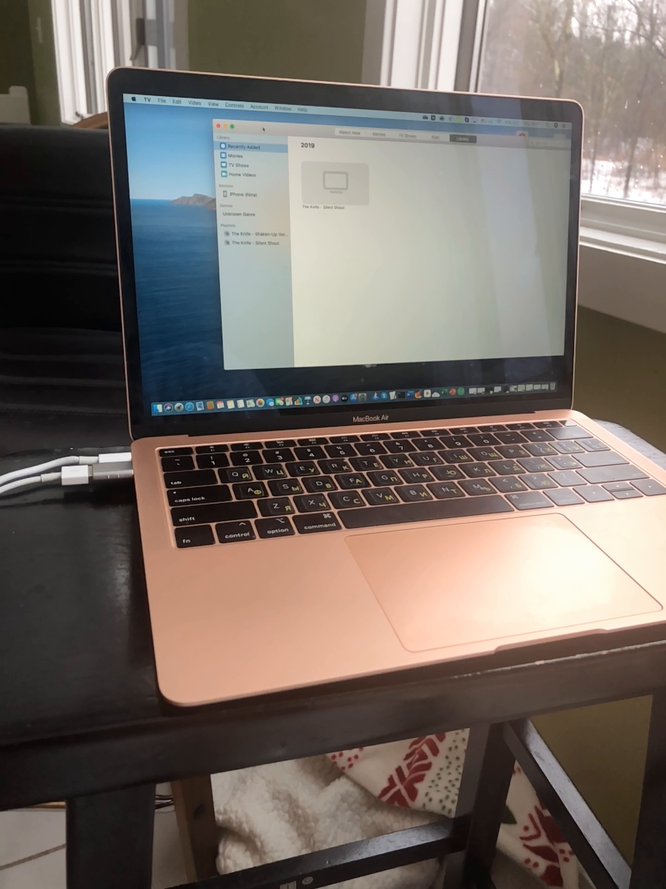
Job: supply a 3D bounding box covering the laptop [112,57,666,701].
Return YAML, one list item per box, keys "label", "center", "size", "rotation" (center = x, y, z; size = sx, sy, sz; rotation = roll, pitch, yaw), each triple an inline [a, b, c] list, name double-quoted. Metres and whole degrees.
- label: "laptop"
  center: [0.053, -0.070, 0.370]
  size: [0.298, 0.196, 0.265]
  rotation: [-4, 26, -17]
